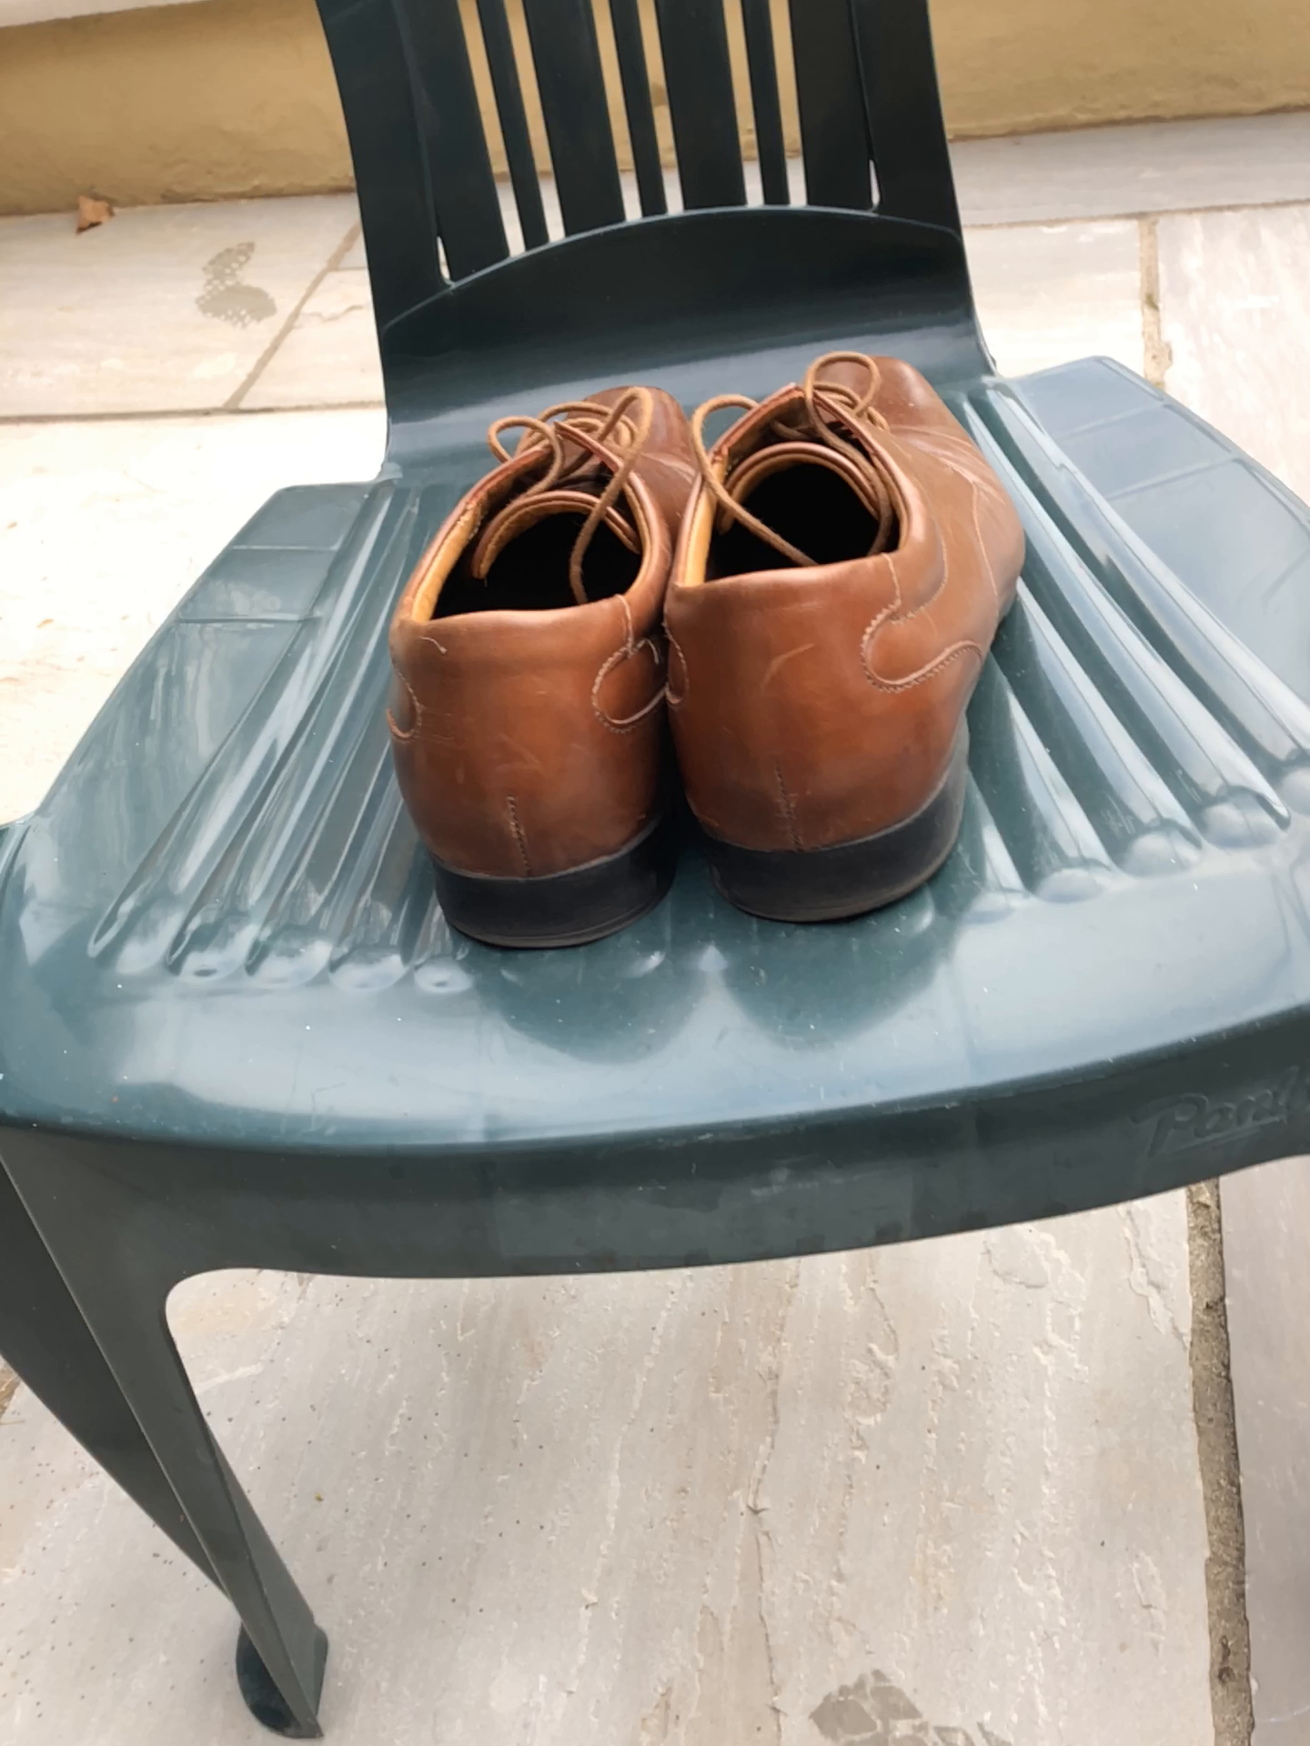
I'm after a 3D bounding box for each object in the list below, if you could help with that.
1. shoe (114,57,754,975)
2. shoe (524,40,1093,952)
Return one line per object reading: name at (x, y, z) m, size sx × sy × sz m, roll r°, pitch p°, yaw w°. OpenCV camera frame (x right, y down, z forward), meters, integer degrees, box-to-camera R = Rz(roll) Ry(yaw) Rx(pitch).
shoe at (-0.036, -0.120, 0.424) m, size 0.110 × 0.109 × 0.292 m, roll -3°, pitch 47°, yaw 10°
shoe at (0.054, -0.121, 0.412) m, size 0.110 × 0.109 × 0.282 m, roll -1°, pitch 47°, yaw 12°
